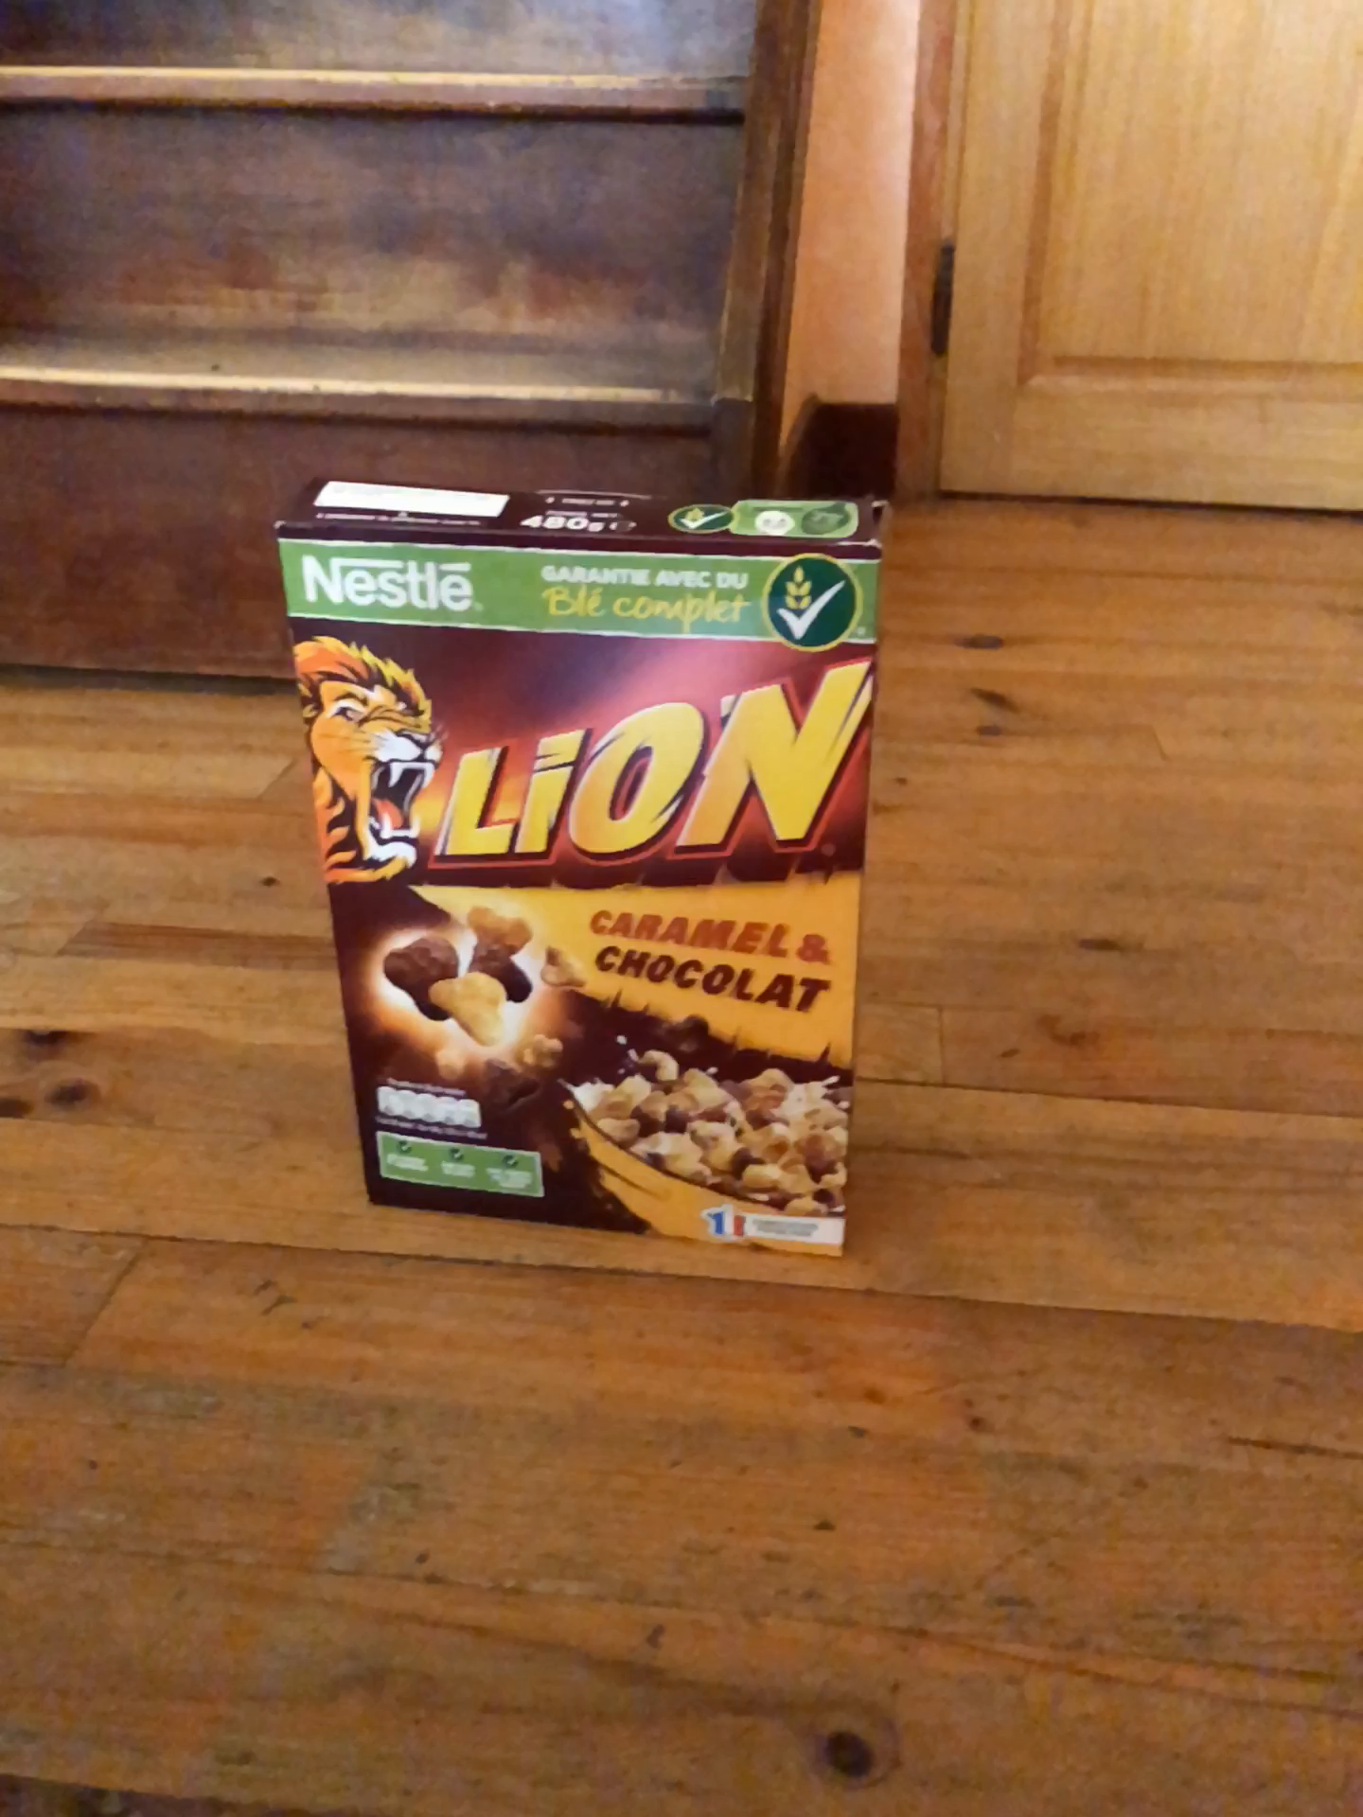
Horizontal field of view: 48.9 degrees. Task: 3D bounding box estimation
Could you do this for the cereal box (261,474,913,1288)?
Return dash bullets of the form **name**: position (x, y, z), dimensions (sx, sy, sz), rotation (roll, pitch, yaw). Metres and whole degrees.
- **cereal box**: position (-0.028, -0.005, 0.541), dimensions (0.200, 0.278, 0.060), rotation (5, 26, 9)
